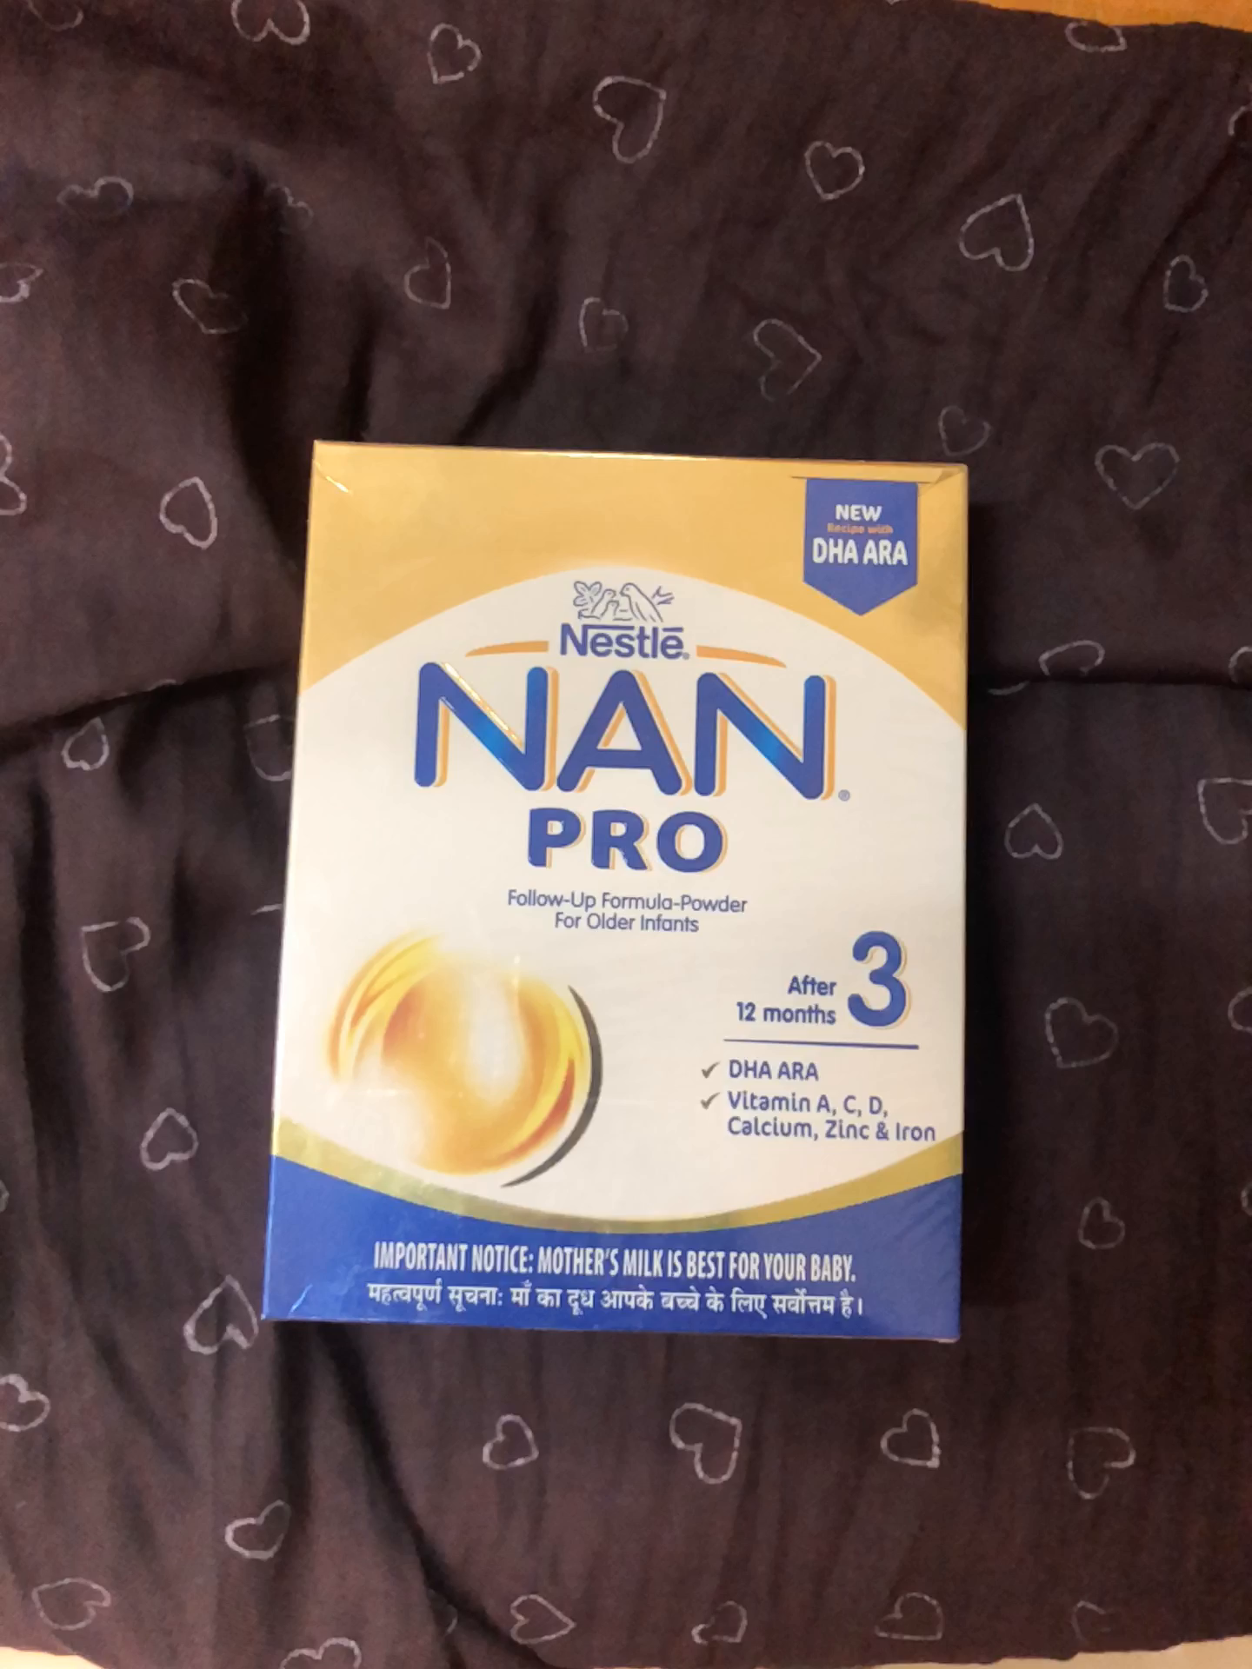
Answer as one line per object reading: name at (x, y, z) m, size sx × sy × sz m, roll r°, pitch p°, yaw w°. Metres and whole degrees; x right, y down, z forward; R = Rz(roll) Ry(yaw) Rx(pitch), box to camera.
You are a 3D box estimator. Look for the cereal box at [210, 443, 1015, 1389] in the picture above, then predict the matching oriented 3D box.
cereal box at (0.000, 0.017, 0.323) m, size 0.160 × 0.070 × 0.190 m, roll 2°, pitch 84°, yaw -1°
